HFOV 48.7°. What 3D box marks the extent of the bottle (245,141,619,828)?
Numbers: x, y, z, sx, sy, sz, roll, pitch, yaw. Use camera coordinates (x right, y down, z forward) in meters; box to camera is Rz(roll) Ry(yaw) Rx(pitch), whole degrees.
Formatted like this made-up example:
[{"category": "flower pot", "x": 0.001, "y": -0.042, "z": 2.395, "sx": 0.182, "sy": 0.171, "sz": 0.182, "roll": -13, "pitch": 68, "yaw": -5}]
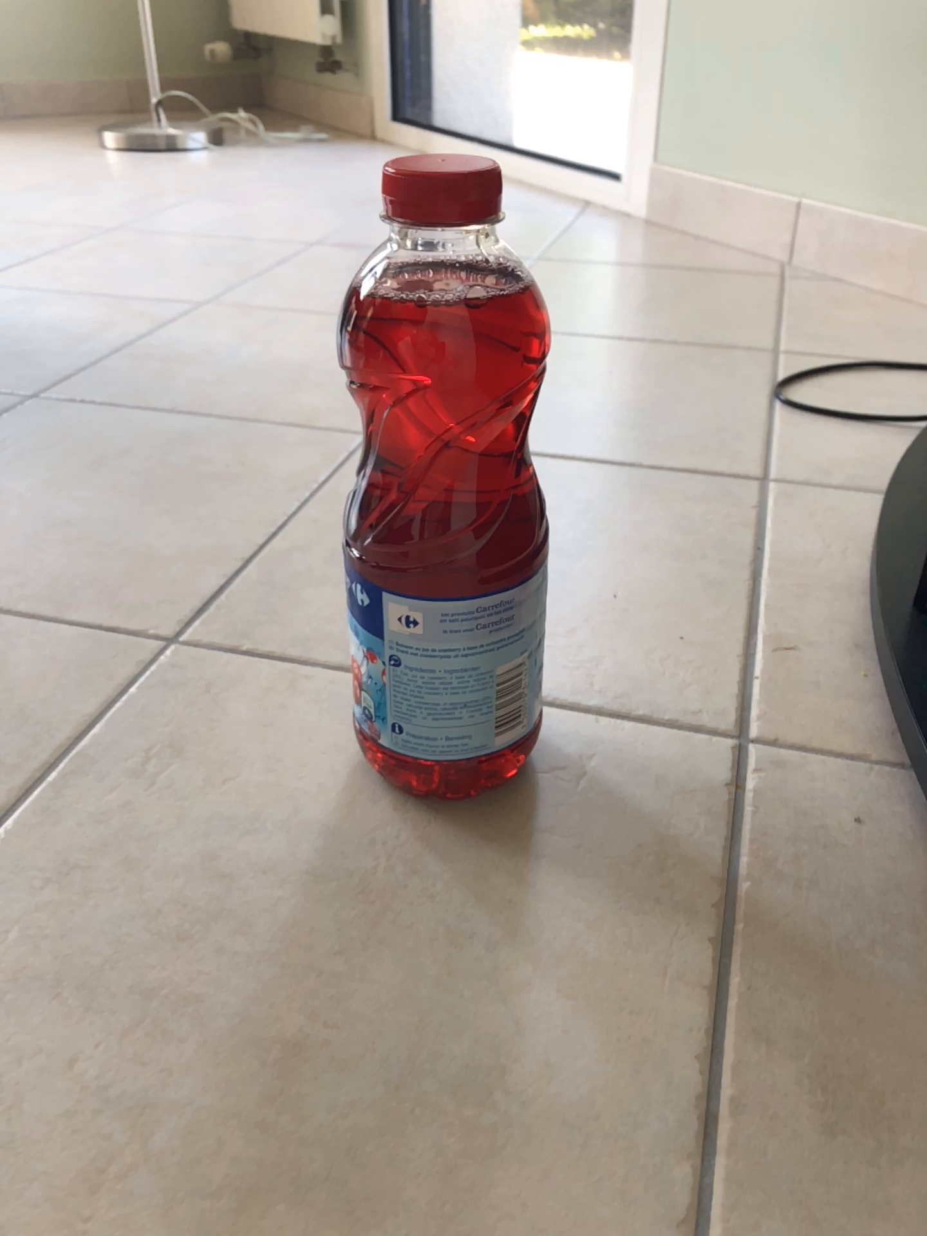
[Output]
[{"category": "bottle", "x": -0.006, "y": -0.047, "z": 0.399, "sx": 0.100, "sy": 0.239, "sz": 0.091, "roll": 9, "pitch": 33, "yaw": 14}]
